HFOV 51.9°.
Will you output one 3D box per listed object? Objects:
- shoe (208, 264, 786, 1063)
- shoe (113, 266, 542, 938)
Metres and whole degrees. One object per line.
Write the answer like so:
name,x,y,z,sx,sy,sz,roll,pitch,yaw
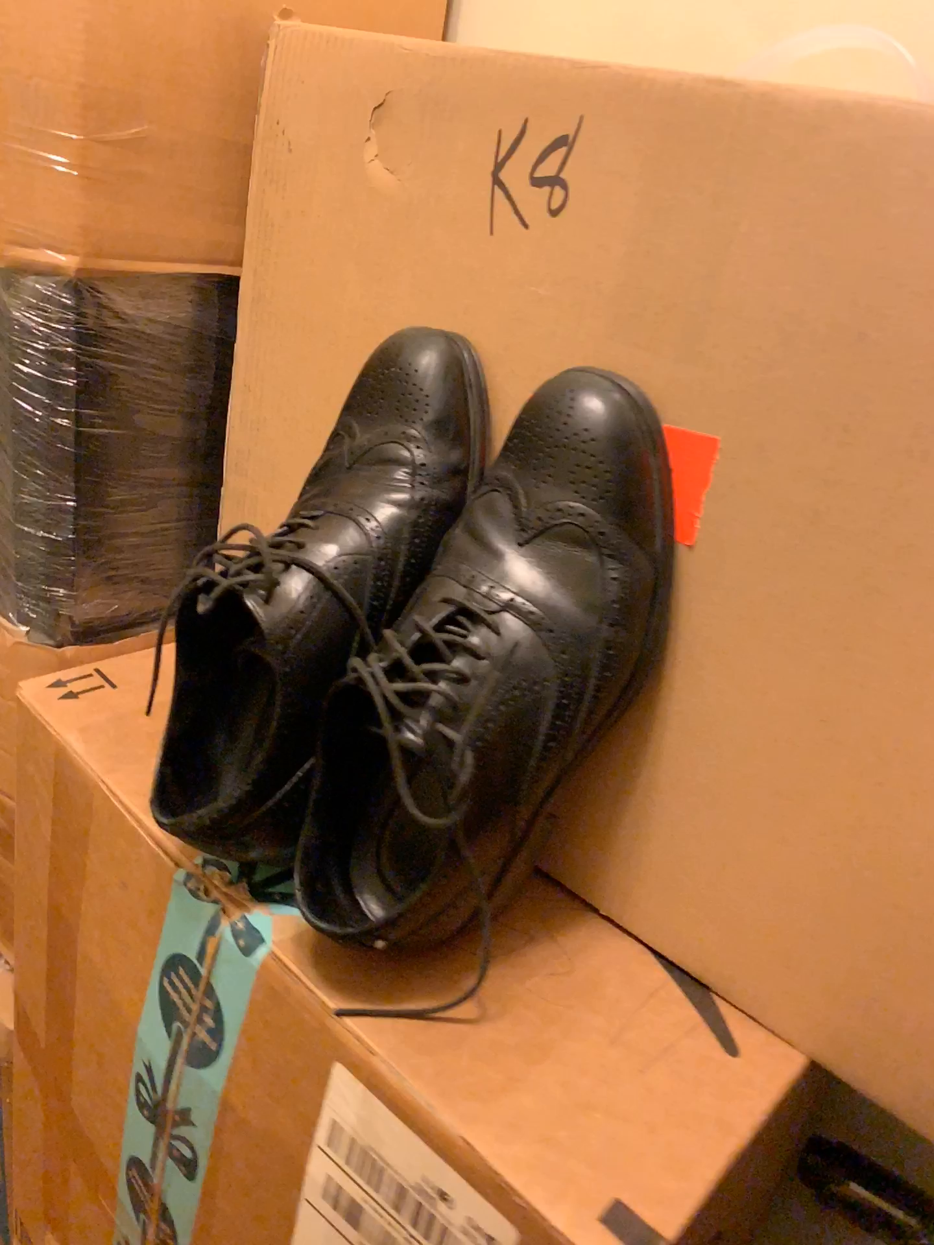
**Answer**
shoe,0.007,0.016,0.407,0.120,0.279,0.100,29,14,31
shoe,-0.069,-0.015,0.470,0.120,0.280,0.100,15,6,32
